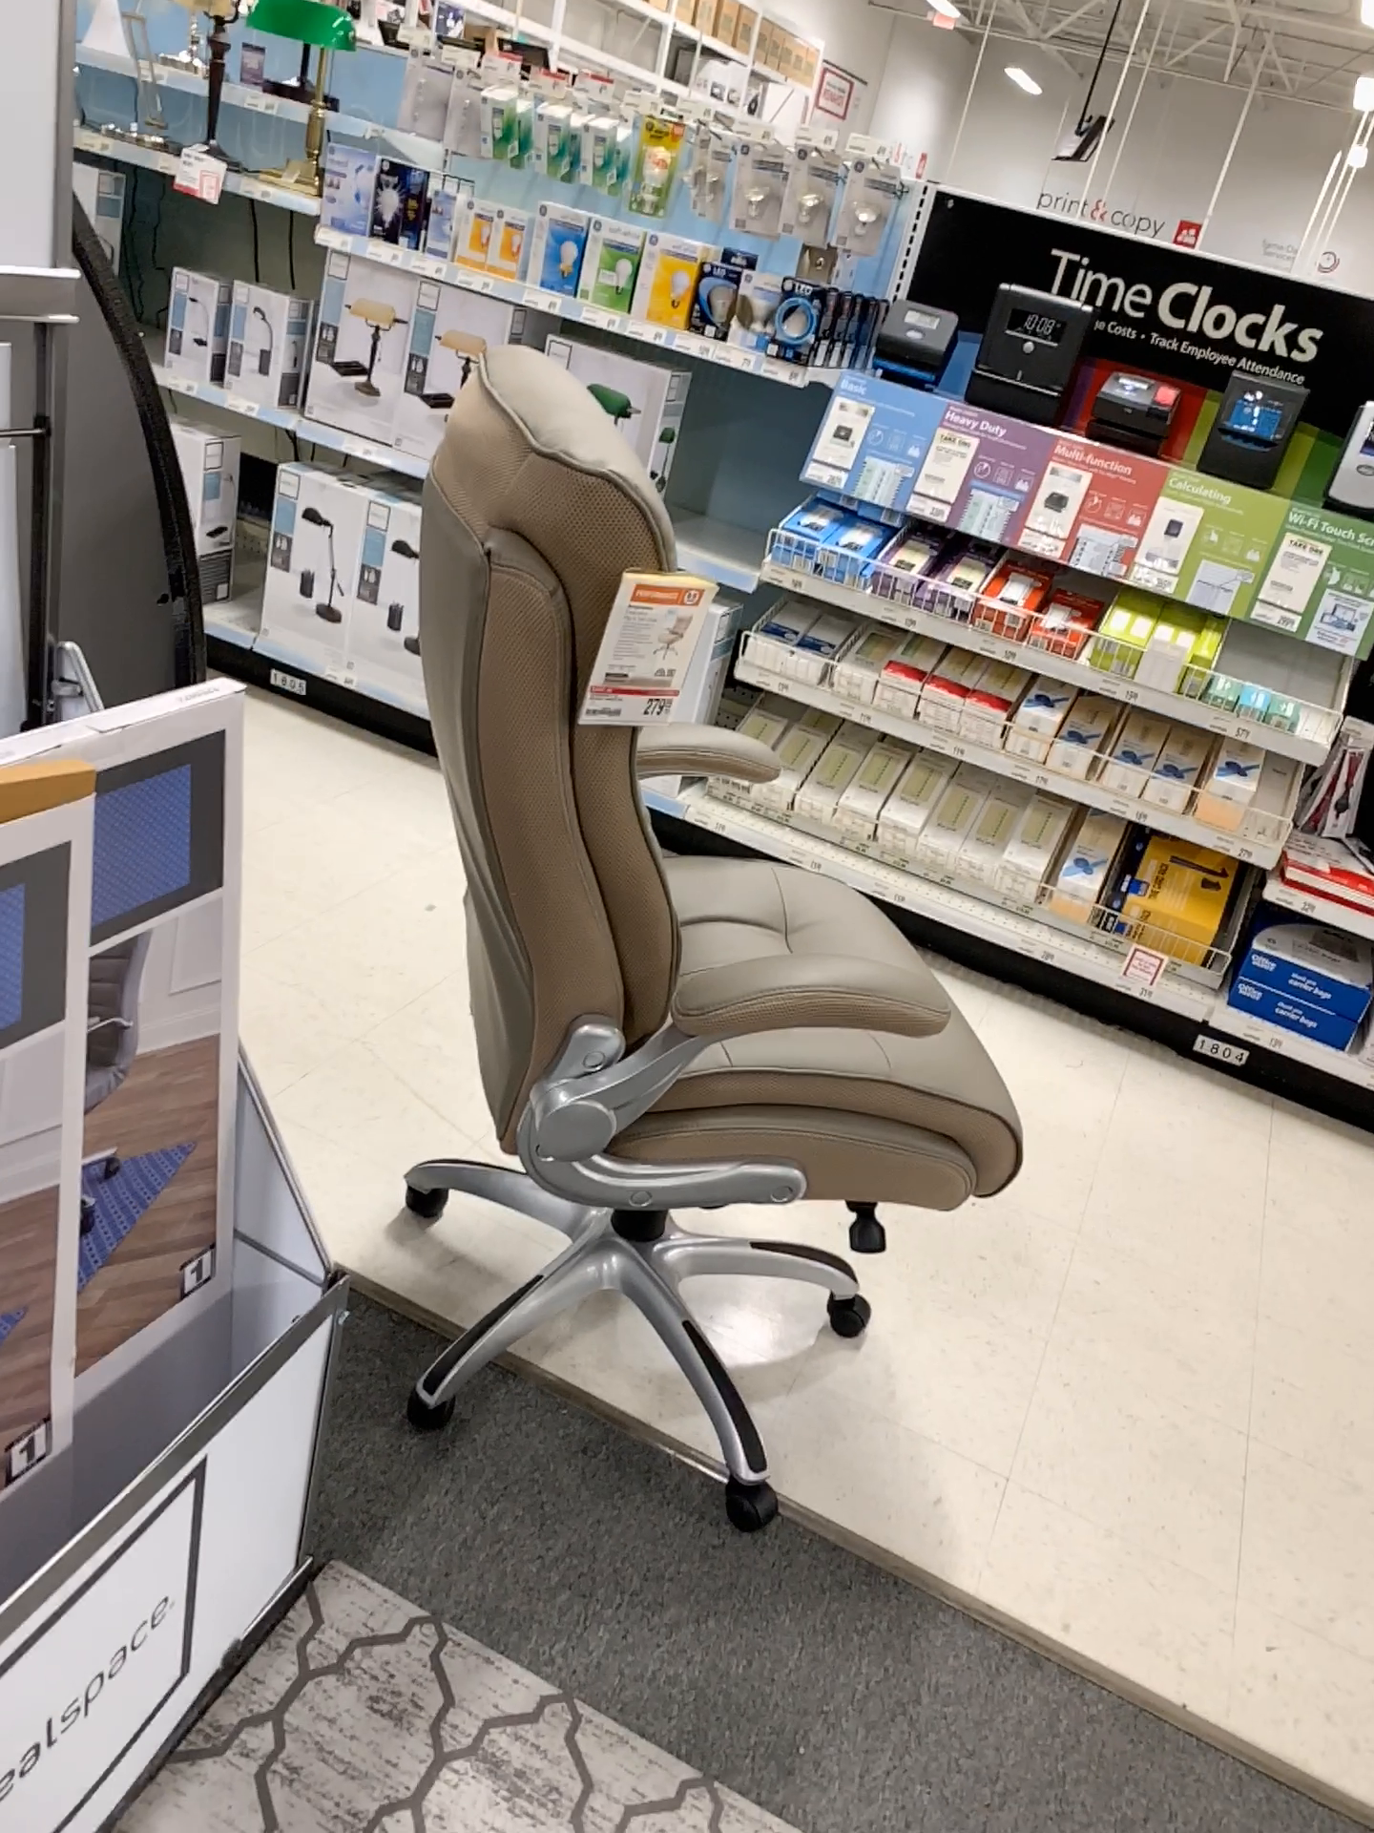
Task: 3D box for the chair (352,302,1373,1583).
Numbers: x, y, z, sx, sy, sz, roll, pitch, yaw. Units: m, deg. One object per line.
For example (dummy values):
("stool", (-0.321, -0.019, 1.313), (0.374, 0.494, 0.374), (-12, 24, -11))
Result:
("chair", (0.068, 0.037, 1.586), (0.721, 1.144, 0.713), (5, 28, -18))
